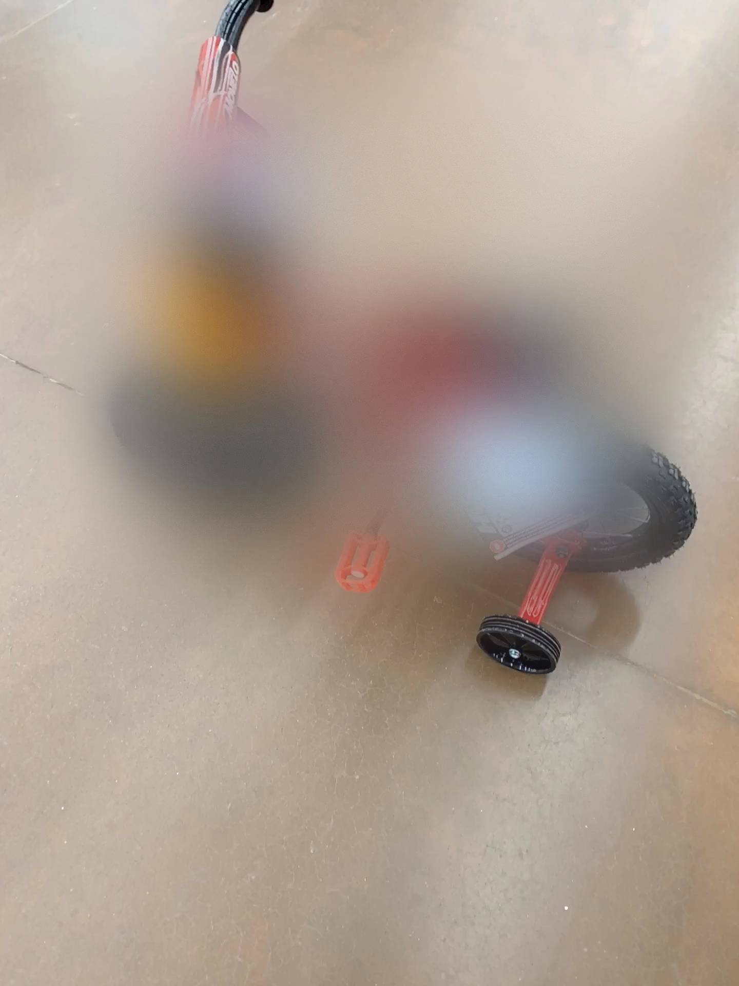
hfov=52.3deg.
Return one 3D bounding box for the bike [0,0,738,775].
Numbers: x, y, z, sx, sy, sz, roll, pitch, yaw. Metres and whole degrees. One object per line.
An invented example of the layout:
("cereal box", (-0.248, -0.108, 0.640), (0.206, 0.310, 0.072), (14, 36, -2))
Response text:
("bike", (0.010, -0.116, 0.730), (0.704, 0.627, 0.458), (11, 56, 6))
